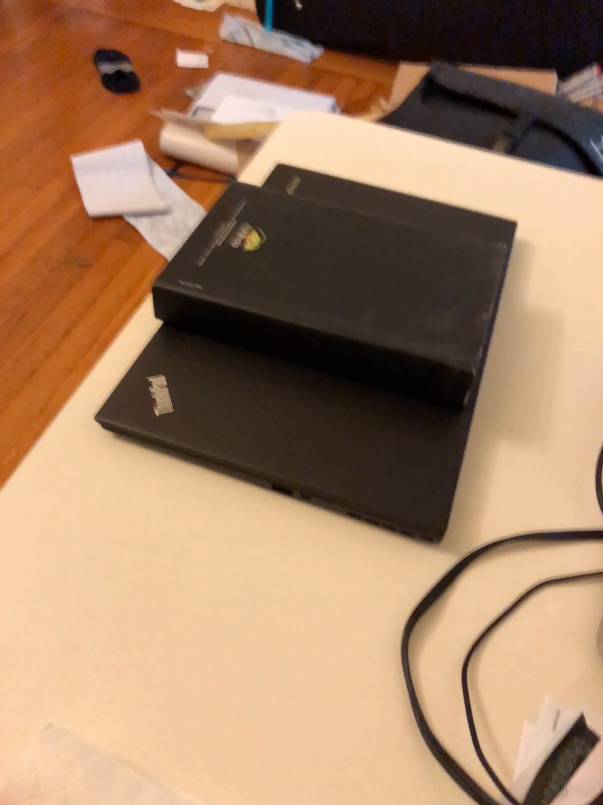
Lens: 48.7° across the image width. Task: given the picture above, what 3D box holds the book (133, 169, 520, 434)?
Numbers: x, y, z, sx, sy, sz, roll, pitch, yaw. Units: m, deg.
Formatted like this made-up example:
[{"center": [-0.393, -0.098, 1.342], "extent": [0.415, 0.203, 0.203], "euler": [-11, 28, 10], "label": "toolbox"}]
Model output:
[{"center": [0.024, -0.081, 0.469], "extent": [0.230, 0.040, 0.151], "euler": [18, 50, 8], "label": "book"}]
